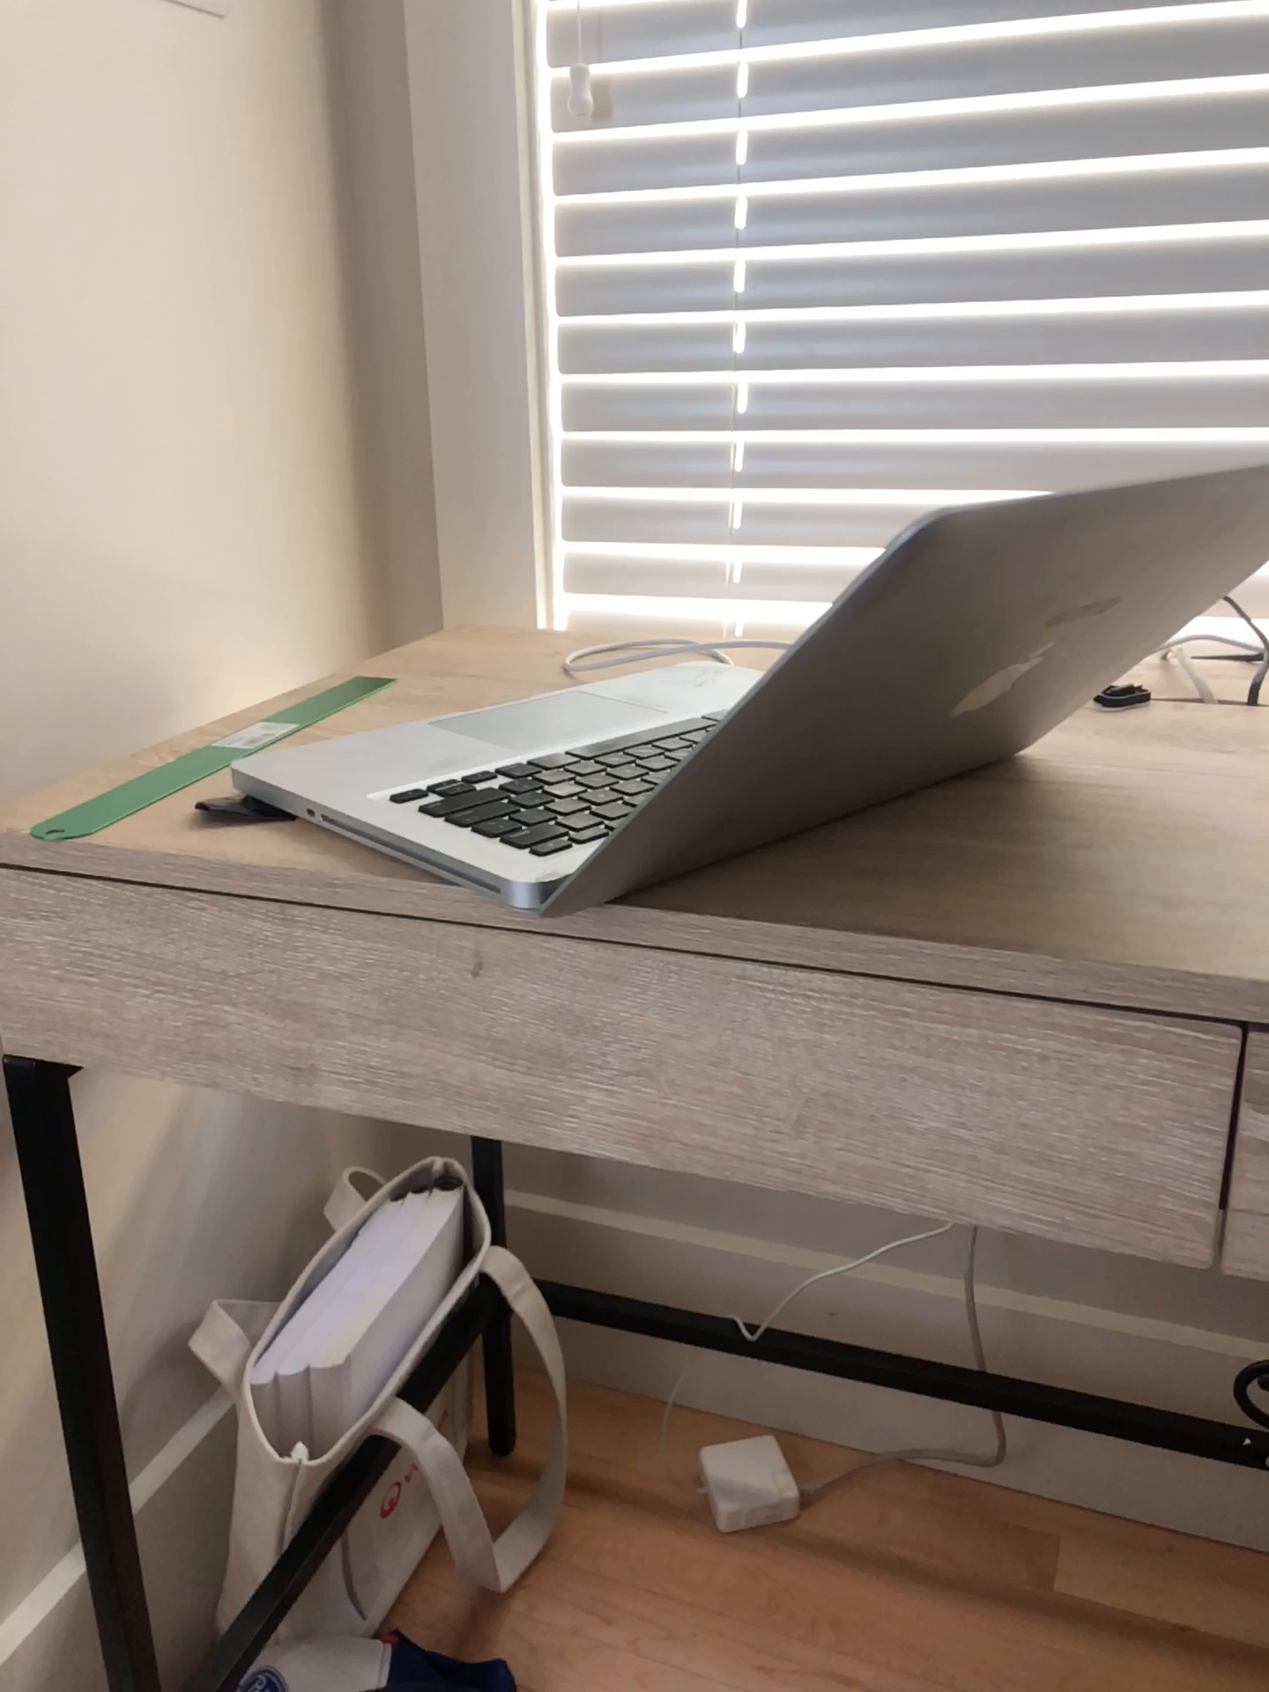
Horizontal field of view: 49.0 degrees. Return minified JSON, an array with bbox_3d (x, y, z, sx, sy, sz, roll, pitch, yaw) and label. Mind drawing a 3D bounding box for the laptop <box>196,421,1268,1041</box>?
[{"bbox_3d":[0.057,-0.092,0.585,0.321,0.133,0.346,-19,28,-41],"label":"laptop"}]
